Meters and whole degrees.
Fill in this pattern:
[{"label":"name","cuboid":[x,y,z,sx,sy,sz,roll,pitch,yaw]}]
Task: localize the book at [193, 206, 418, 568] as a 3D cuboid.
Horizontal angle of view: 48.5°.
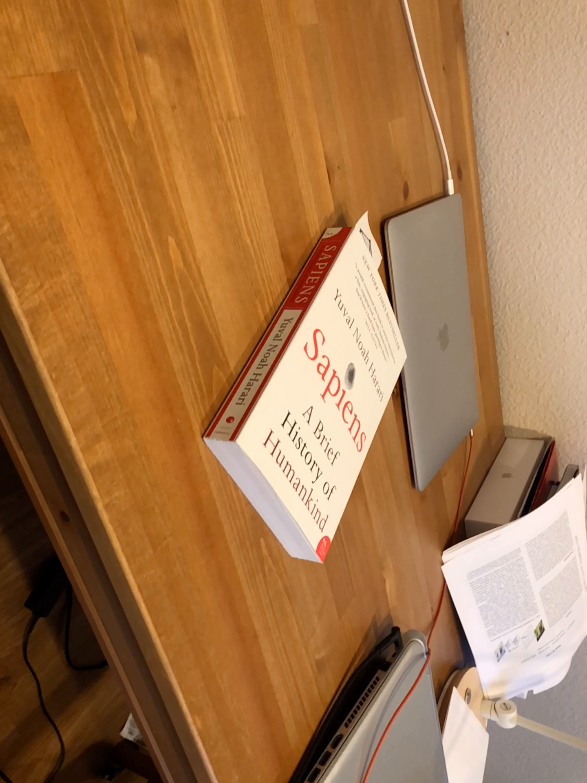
[{"label":"book","cuboid":[0.030,-0.008,0.549,0.250,0.040,0.171,-63,140,-34]}]
